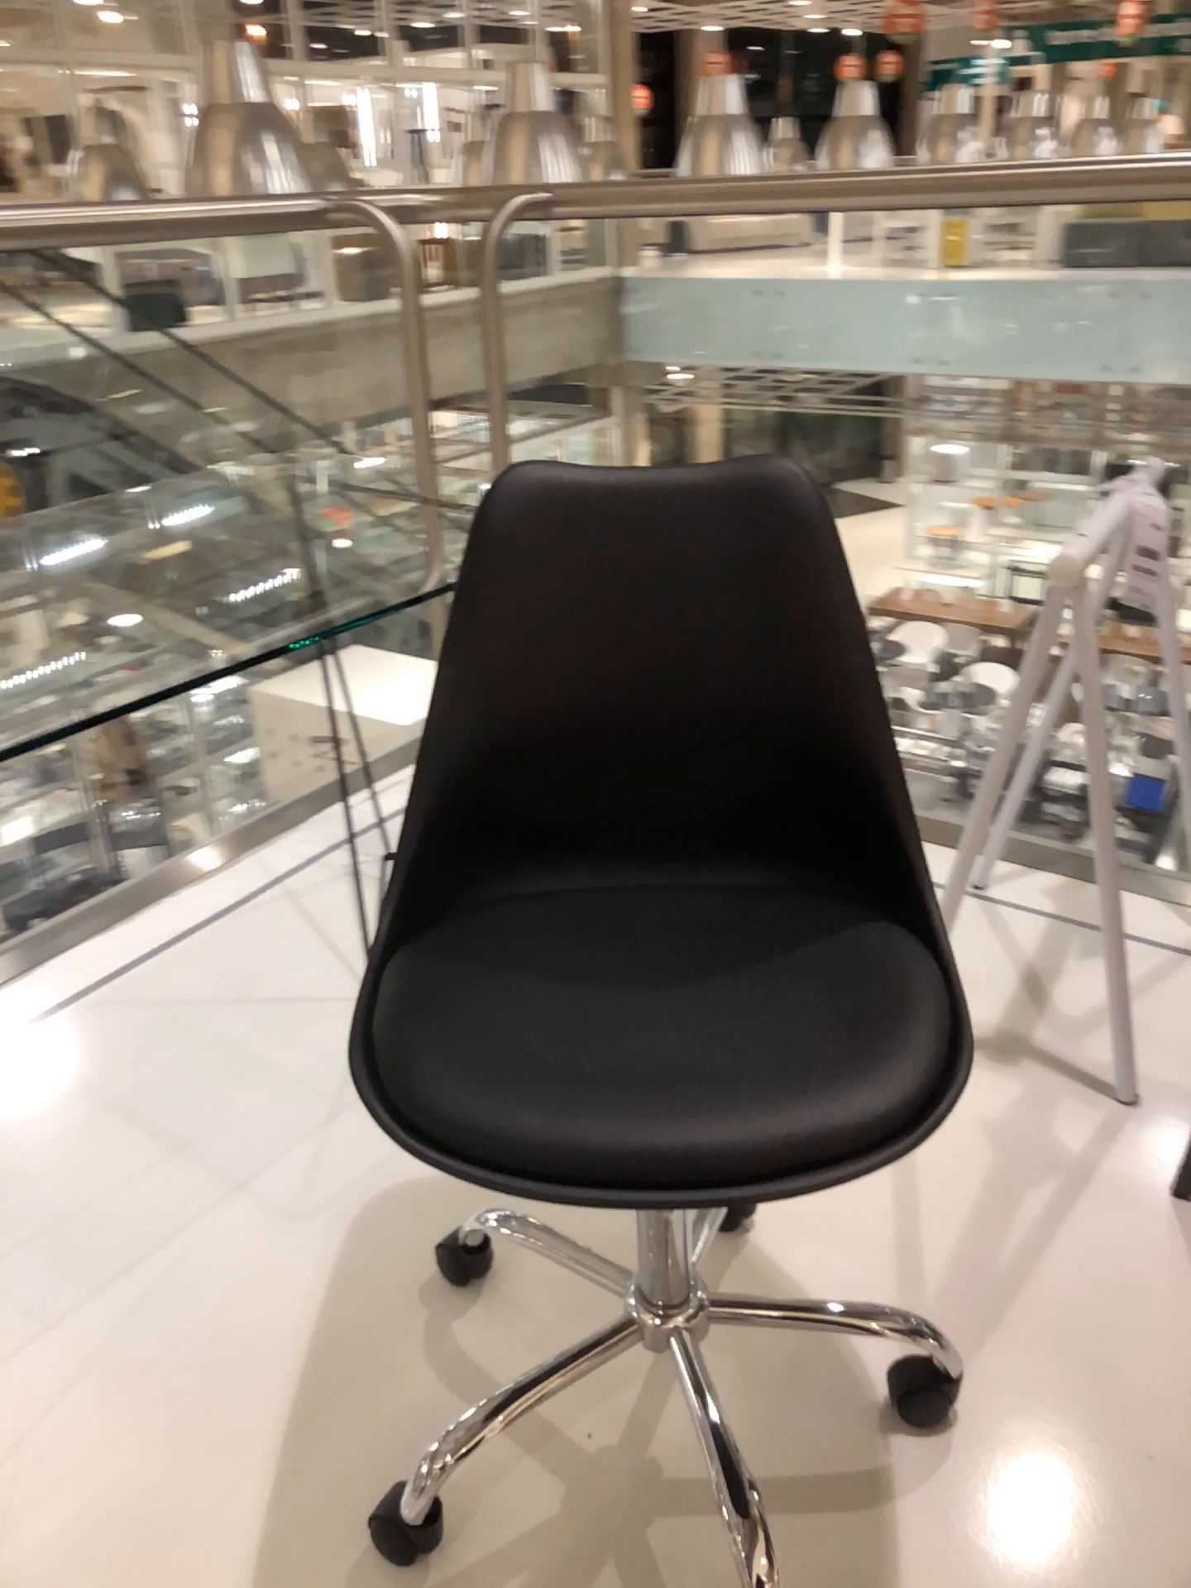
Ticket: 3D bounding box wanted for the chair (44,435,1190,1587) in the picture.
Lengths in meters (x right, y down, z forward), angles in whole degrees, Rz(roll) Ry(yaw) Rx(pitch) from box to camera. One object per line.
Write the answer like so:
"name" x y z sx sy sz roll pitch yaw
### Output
"chair" 0.064 0.186 1.100 0.630 0.824 0.635 -2 24 3
